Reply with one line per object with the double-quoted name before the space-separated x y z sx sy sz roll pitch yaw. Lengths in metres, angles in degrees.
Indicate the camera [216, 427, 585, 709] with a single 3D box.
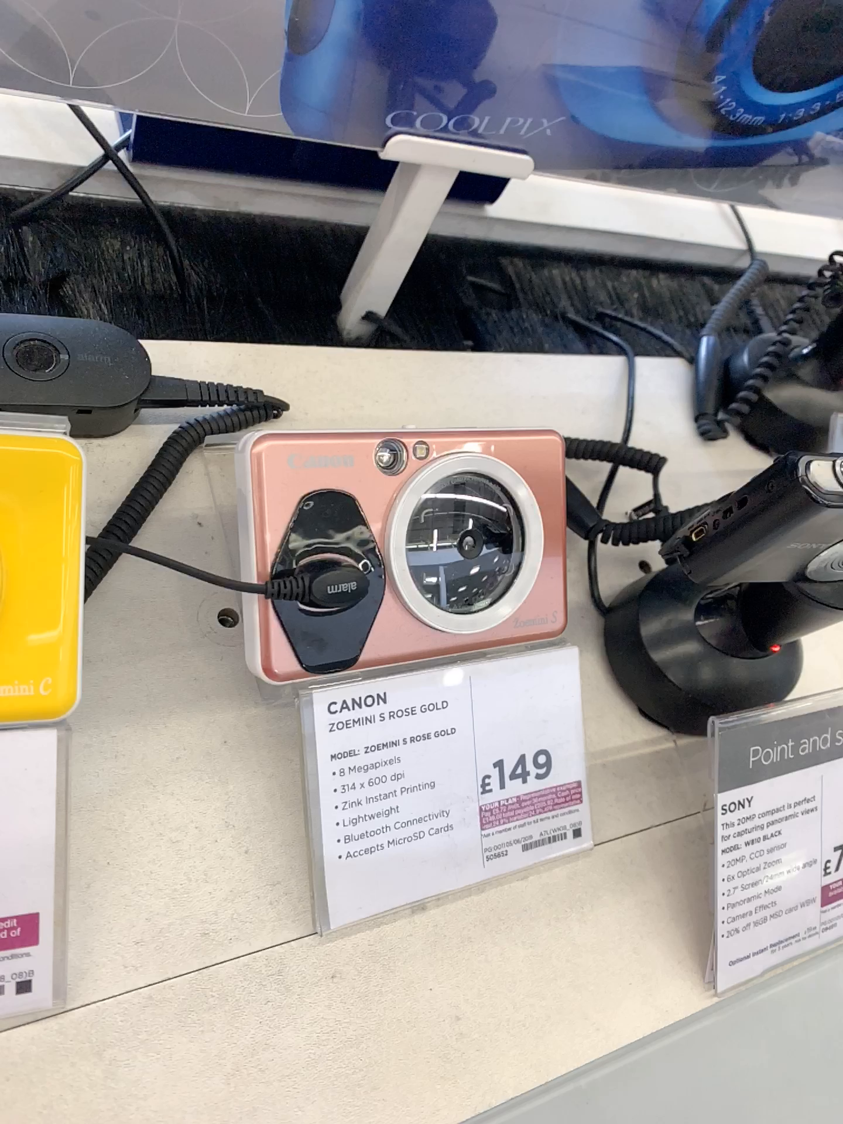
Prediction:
"camera" -0.001 -0.003 0.297 0.129 0.020 0.083 -5 96 -29
